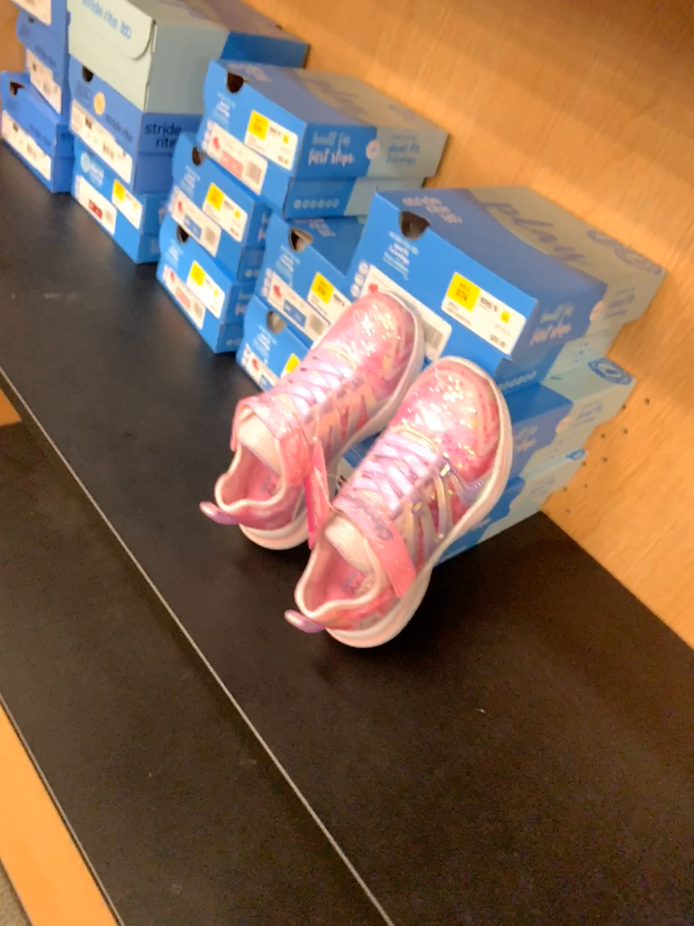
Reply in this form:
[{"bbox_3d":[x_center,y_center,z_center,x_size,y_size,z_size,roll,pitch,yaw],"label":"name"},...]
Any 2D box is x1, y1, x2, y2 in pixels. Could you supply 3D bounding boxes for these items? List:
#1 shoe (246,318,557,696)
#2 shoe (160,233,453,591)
[{"bbox_3d":[0.031,0.027,0.448,0.090,0.199,0.080,33,17,27],"label":"shoe"},{"bbox_3d":[-0.031,-0.030,0.488,0.090,0.209,0.080,37,18,31],"label":"shoe"}]
